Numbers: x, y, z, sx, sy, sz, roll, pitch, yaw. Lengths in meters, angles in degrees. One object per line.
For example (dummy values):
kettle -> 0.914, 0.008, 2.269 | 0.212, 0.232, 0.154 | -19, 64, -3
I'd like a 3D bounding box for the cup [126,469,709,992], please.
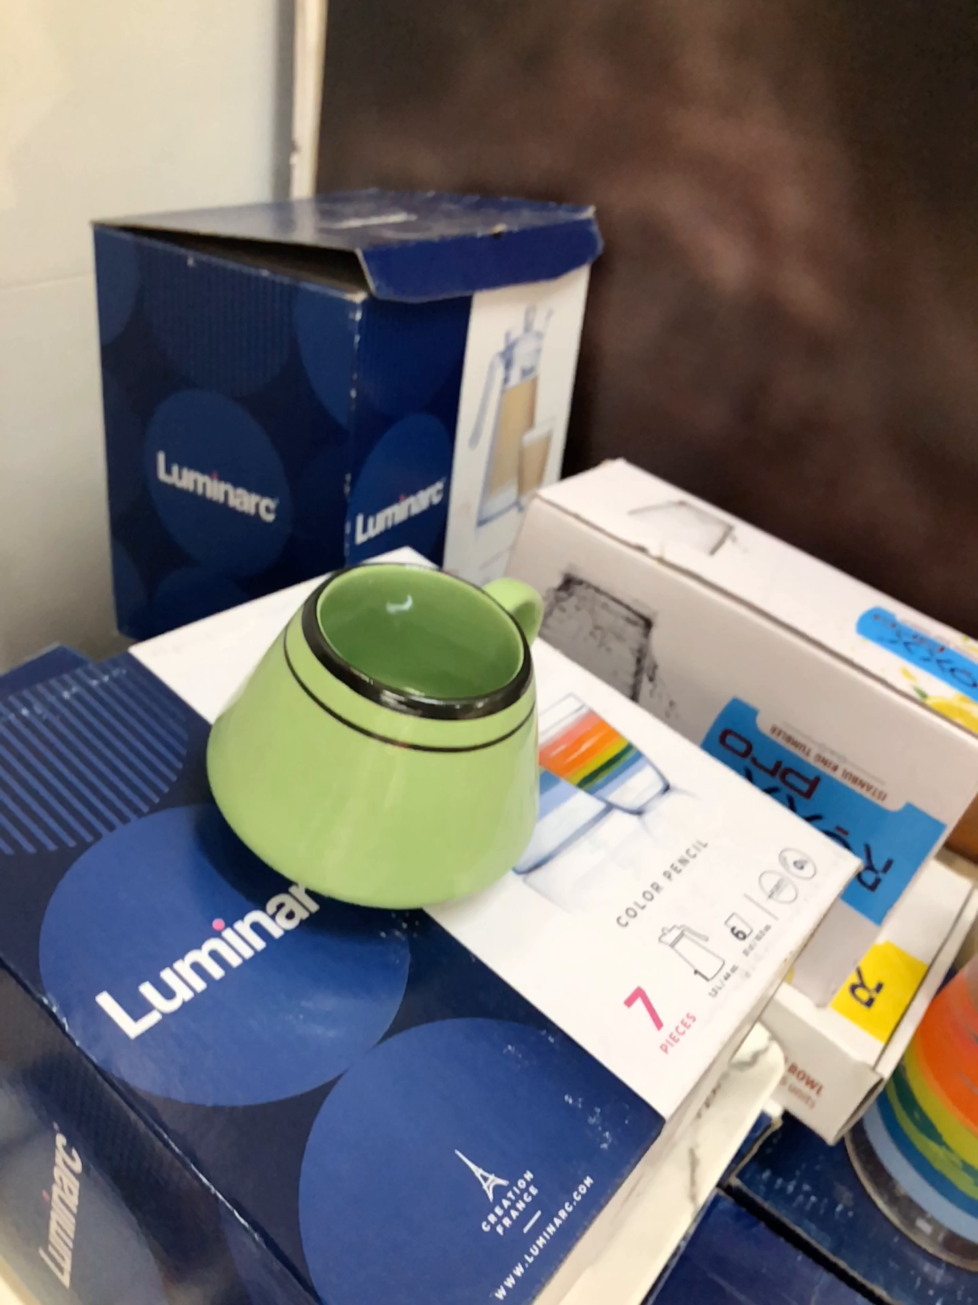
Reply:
cup -> -0.020, 0.012, 0.346 | 0.110, 0.070, 0.141 | 30, 39, 27
